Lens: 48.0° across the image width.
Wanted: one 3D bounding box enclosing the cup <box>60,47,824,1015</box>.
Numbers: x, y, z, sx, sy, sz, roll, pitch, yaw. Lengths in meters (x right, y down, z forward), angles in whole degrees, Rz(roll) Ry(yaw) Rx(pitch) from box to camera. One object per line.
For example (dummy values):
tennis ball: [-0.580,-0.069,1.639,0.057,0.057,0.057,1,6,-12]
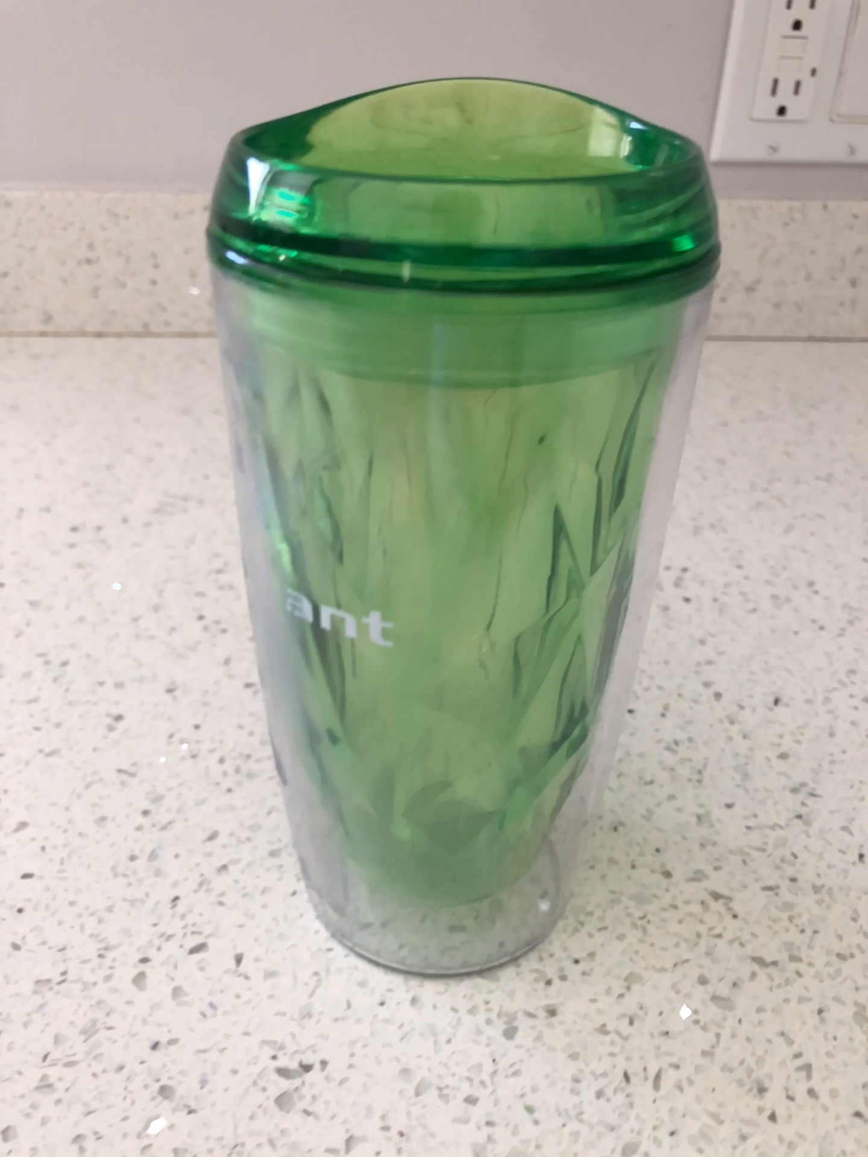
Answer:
cup: [0.004,-0.011,0.193,0.090,0.159,0.090,1,31,-1]
